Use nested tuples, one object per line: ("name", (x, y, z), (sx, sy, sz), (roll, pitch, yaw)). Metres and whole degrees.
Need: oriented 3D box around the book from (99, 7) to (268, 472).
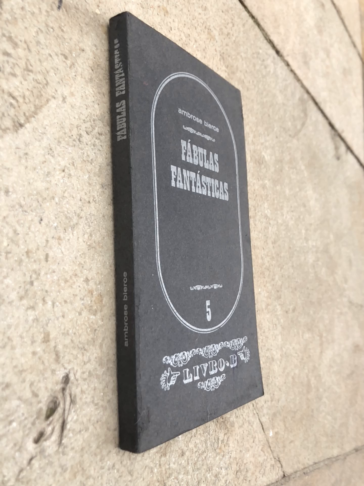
("book", (0.006, -0.003, 0.198), (0.105, 0.013, 0.176), (6, 80, -52))
